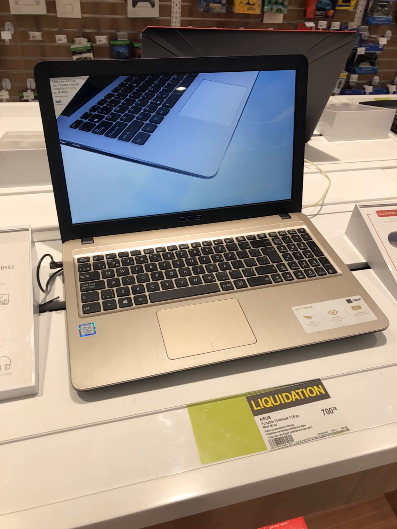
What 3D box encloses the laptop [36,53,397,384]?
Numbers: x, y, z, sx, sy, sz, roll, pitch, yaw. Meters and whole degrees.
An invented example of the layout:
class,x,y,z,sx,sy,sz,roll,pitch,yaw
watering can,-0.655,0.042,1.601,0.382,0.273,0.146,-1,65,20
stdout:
class,x,y,z,sx,sy,sz,roll,pitch,yaw
laptop,0.012,-0.095,0.550,0.370,0.204,0.339,-8,44,-15
